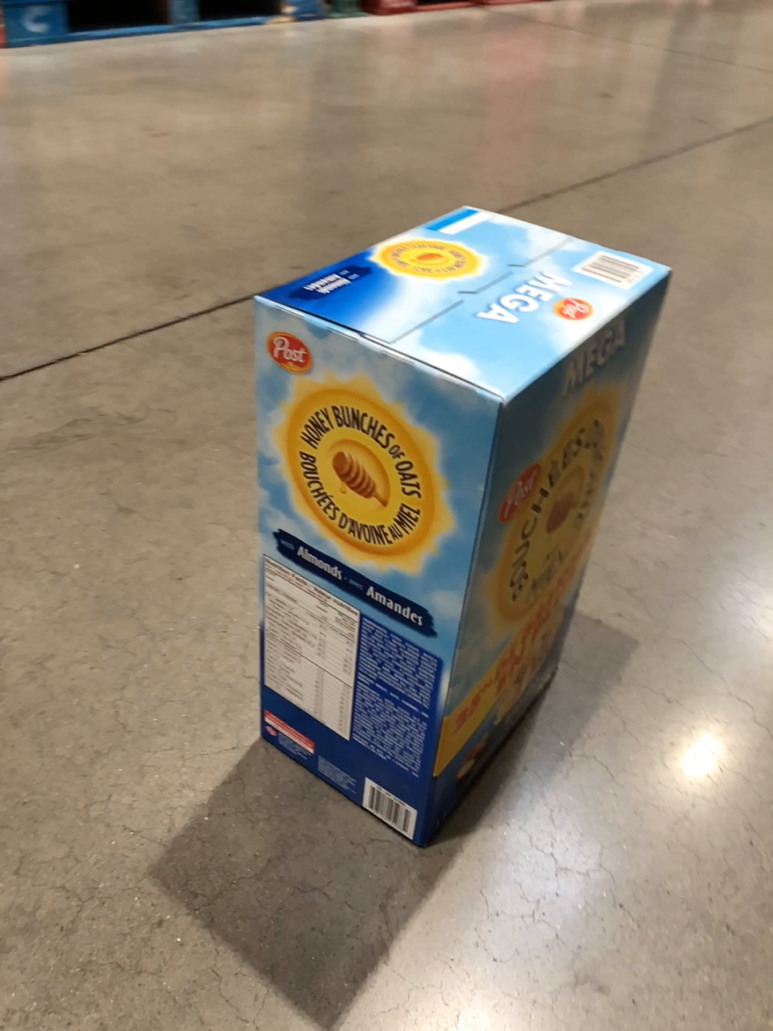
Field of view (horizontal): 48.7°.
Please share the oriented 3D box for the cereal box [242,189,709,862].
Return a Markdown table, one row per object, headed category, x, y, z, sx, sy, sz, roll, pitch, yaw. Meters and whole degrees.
| category | x | y | z | sx | sy | sz | roll | pitch | yaw |
| --- | --- | --- | --- | --- | --- | --- | --- | --- | --- |
| cereal box | 0.042 | 0.006 | 0.531 | 0.150 | 0.329 | 0.211 | 27 | 43 | 24 |
